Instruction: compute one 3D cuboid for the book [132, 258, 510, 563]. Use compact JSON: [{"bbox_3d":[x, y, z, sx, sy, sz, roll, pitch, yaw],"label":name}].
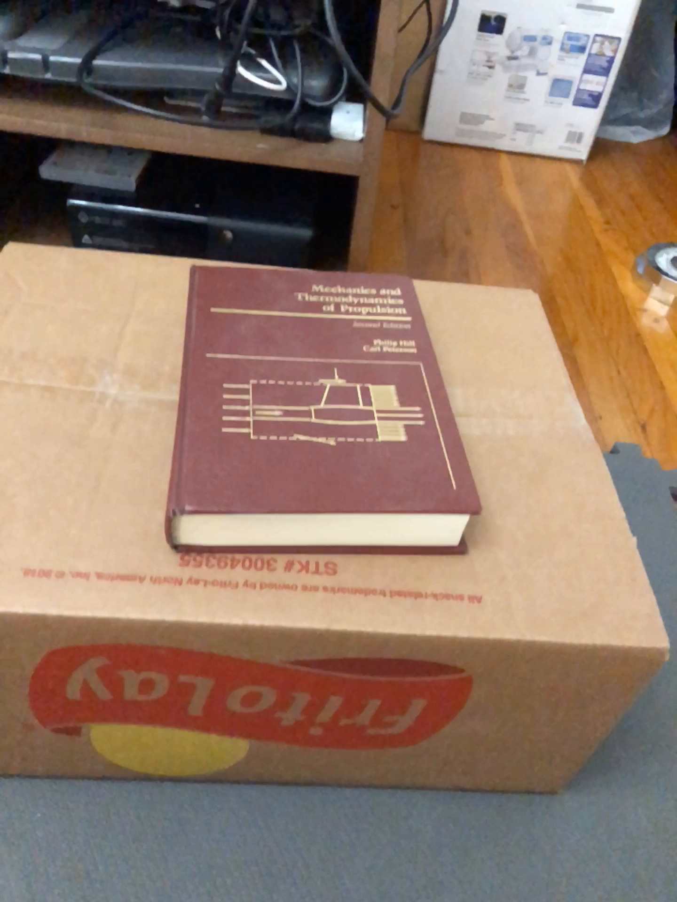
[{"bbox_3d":[-0.016,-0.038,0.475,0.190,0.040,0.241,2,44,-7],"label":"book"}]
